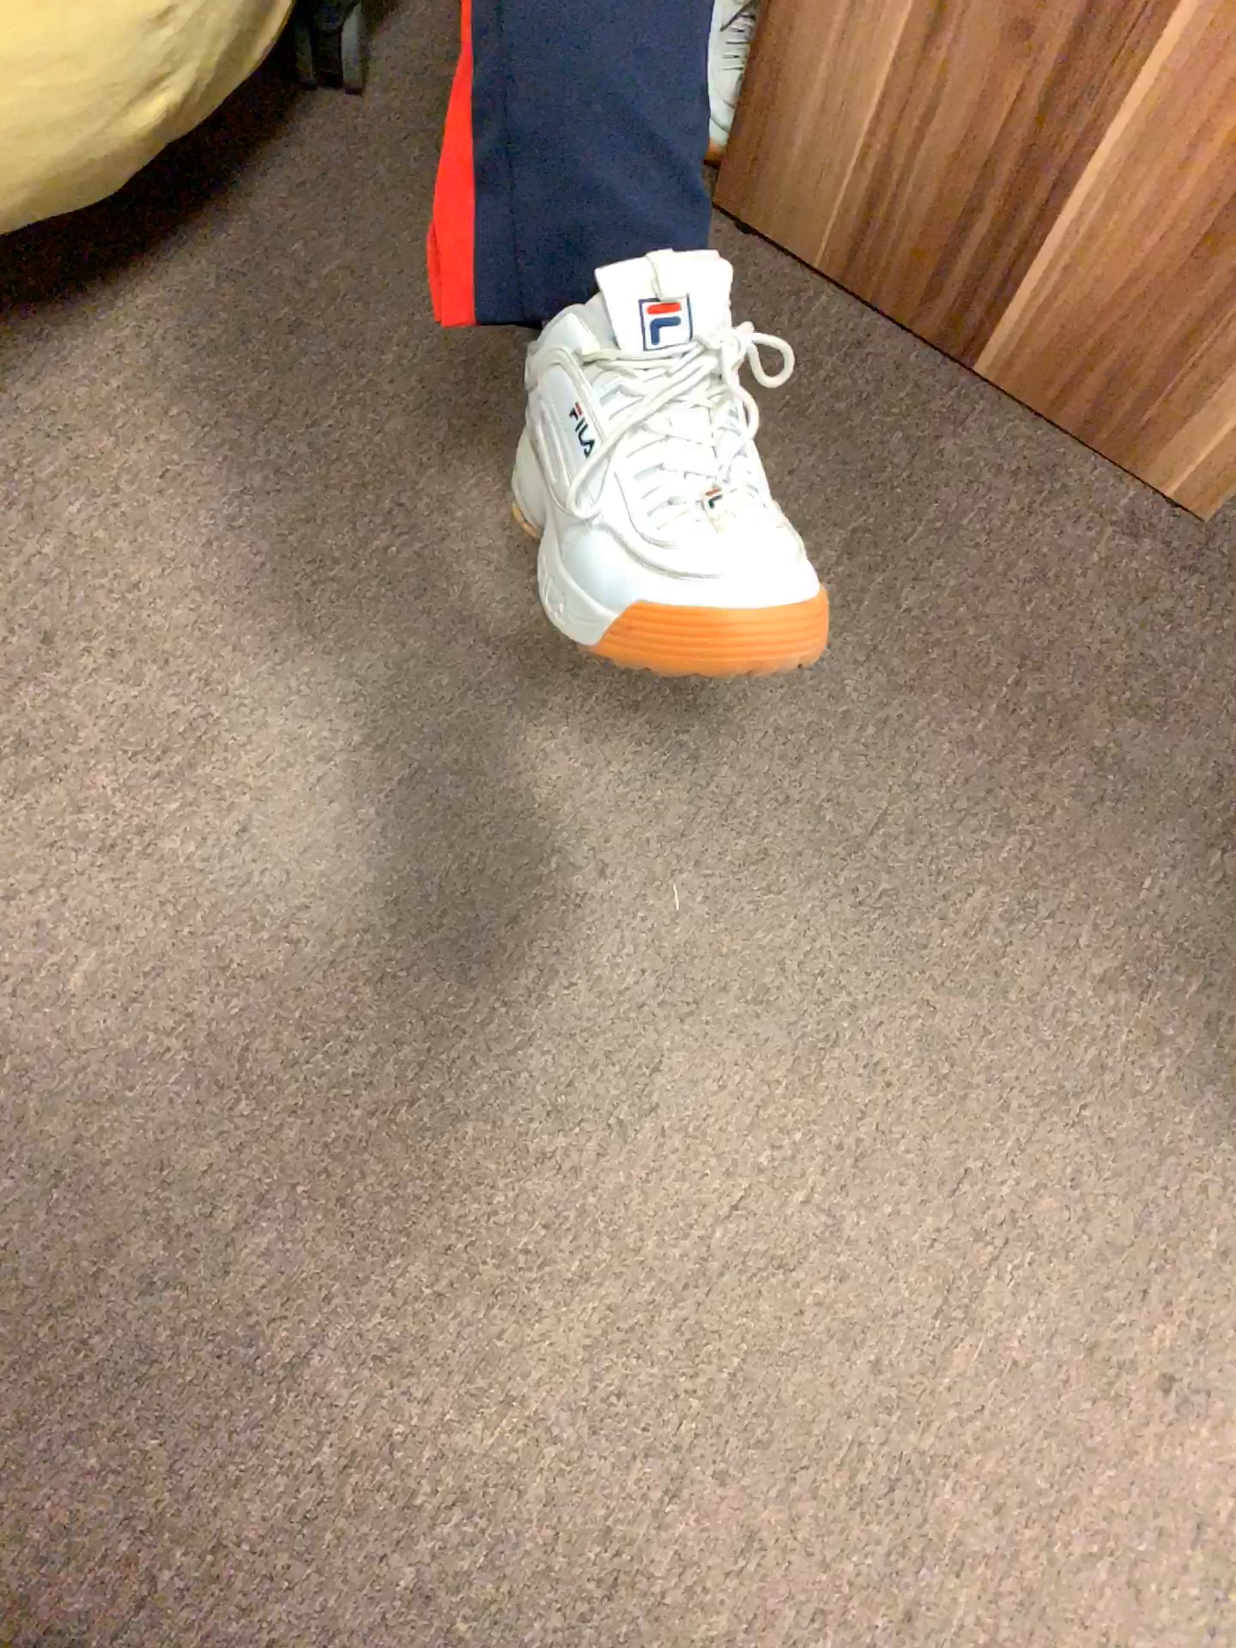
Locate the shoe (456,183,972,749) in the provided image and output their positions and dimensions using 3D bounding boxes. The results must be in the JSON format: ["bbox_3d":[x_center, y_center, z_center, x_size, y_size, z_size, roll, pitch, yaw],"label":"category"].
[{"bbox_3d":[0.022,-0.165,0.551,0.130,0.130,0.230,-7,48,-18],"label":"shoe"}]
